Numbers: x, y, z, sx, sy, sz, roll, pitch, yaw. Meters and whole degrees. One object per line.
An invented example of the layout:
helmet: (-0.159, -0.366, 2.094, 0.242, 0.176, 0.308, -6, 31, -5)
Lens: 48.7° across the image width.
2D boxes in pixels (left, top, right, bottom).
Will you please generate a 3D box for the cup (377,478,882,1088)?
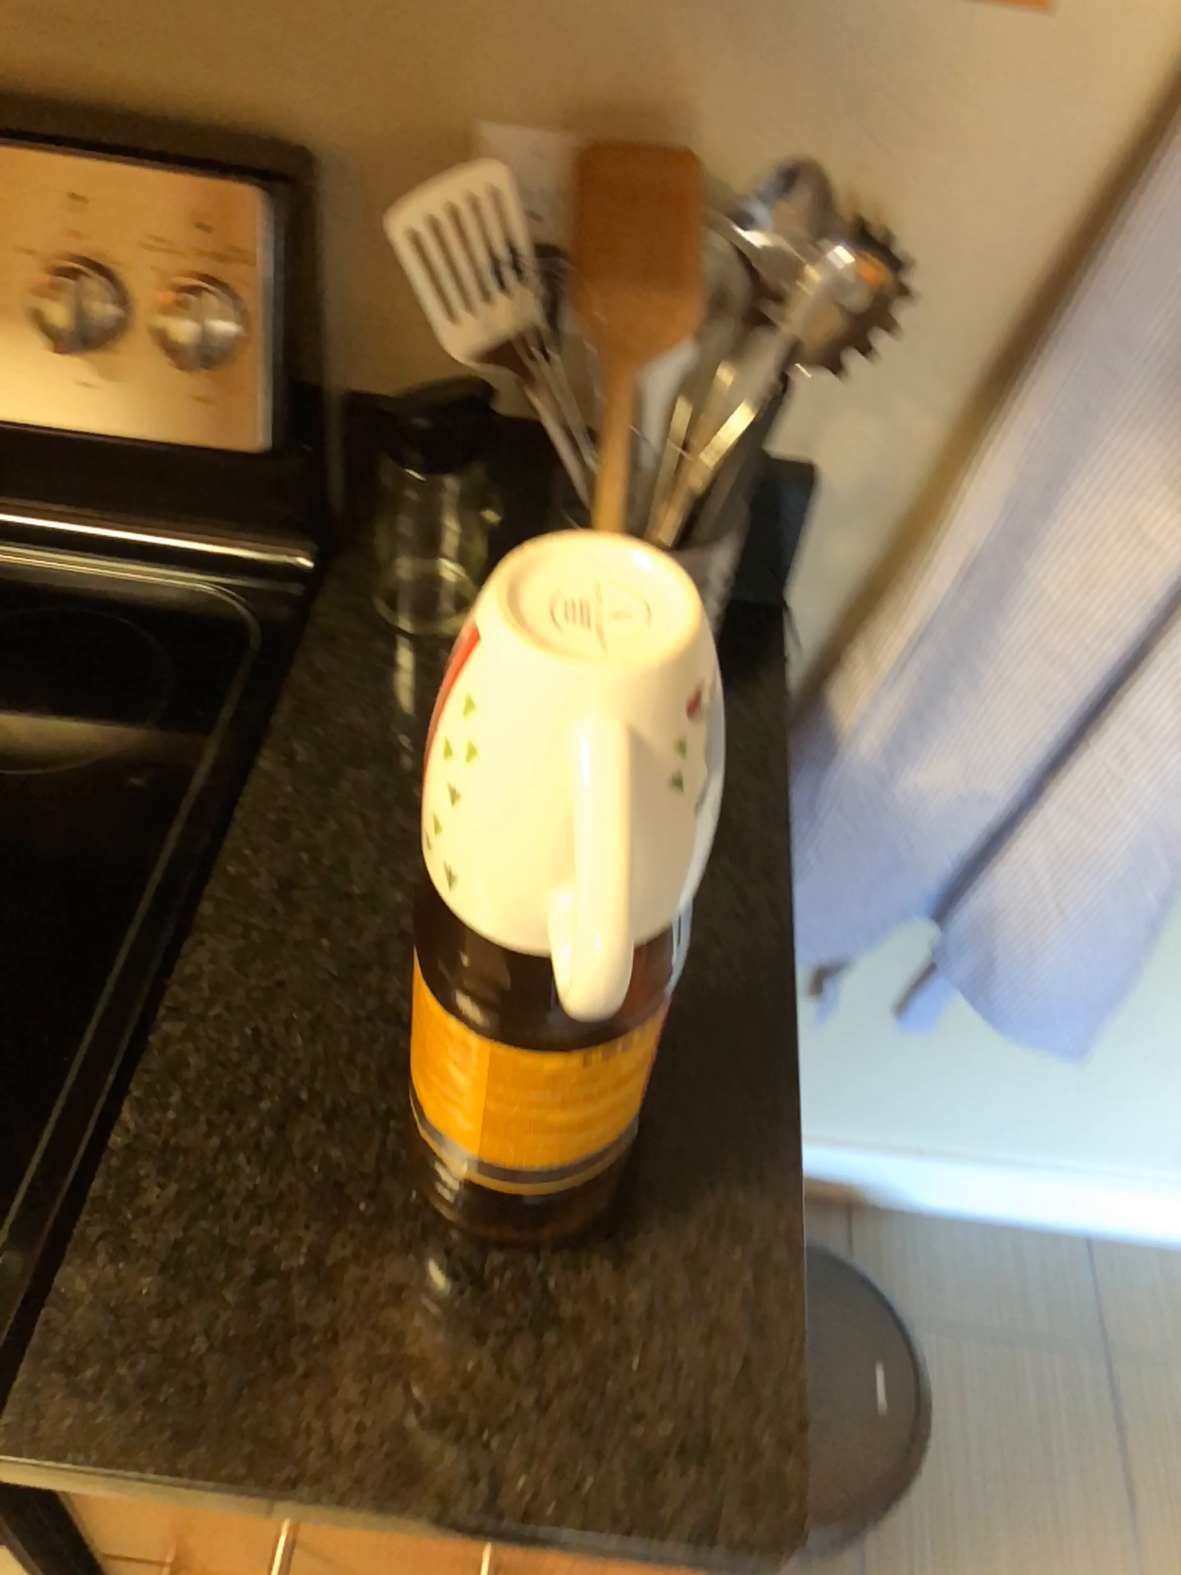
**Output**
cup: (-0.001, -0.007, 0.403, 0.100, 0.109, 0.141, -8, 47, -18)
